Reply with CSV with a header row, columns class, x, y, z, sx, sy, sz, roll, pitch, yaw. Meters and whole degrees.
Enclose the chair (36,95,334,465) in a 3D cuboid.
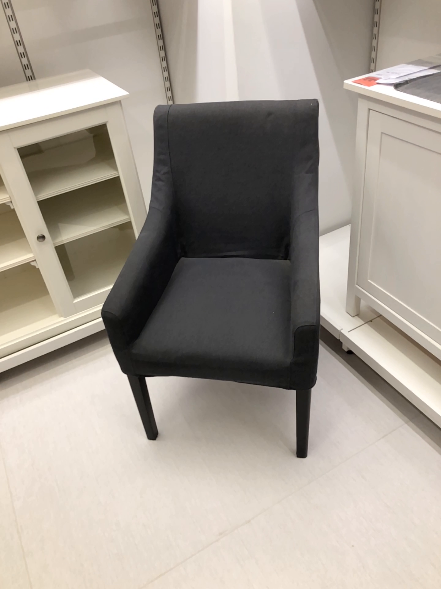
class,x,y,z,sx,sy,sz,roll,pitch,yaw
chair,0.005,-0.049,1.494,0.610,0.884,0.624,3,39,14
